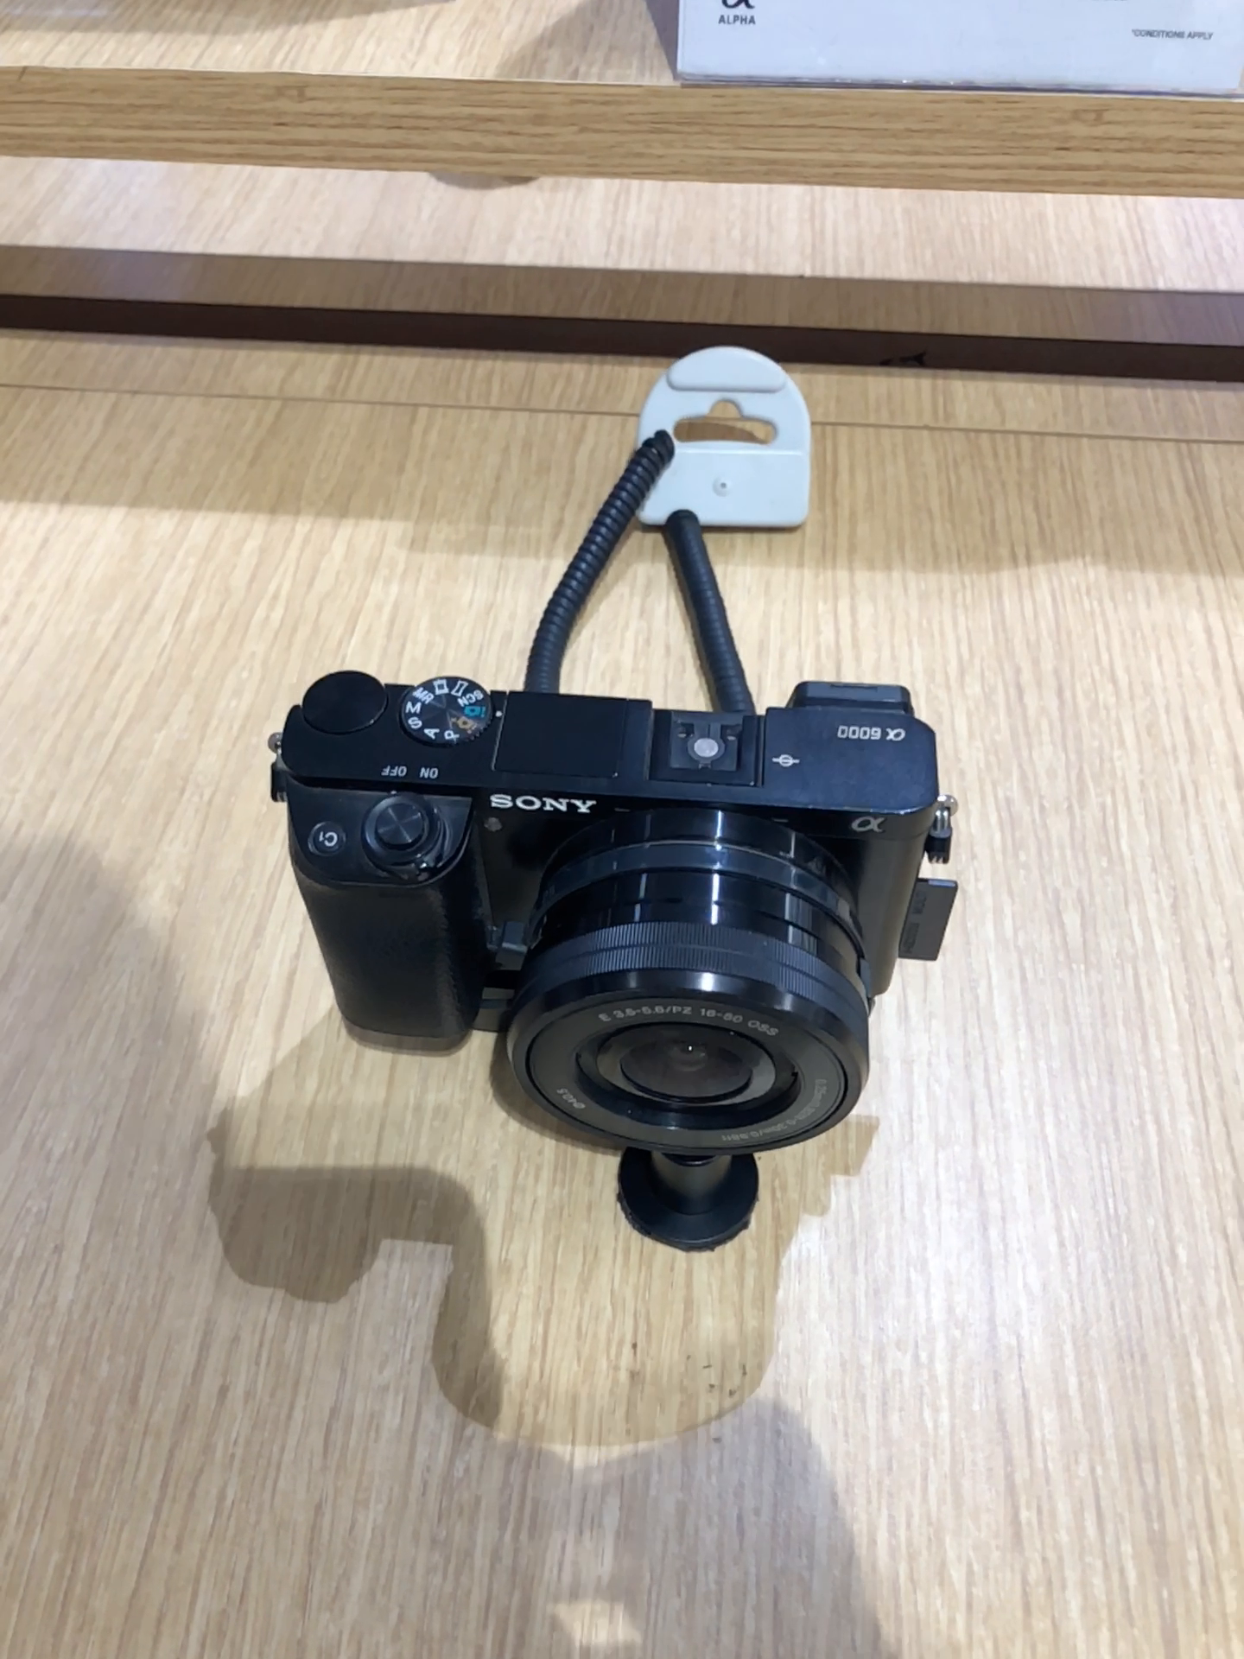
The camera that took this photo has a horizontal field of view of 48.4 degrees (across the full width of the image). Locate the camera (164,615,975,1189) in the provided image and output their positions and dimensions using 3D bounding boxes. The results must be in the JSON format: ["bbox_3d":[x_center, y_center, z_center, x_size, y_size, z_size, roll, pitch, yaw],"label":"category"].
[{"bbox_3d":[-0.005,0.013,0.227,0.107,0.070,0.059,3,51,3],"label":"camera"}]
